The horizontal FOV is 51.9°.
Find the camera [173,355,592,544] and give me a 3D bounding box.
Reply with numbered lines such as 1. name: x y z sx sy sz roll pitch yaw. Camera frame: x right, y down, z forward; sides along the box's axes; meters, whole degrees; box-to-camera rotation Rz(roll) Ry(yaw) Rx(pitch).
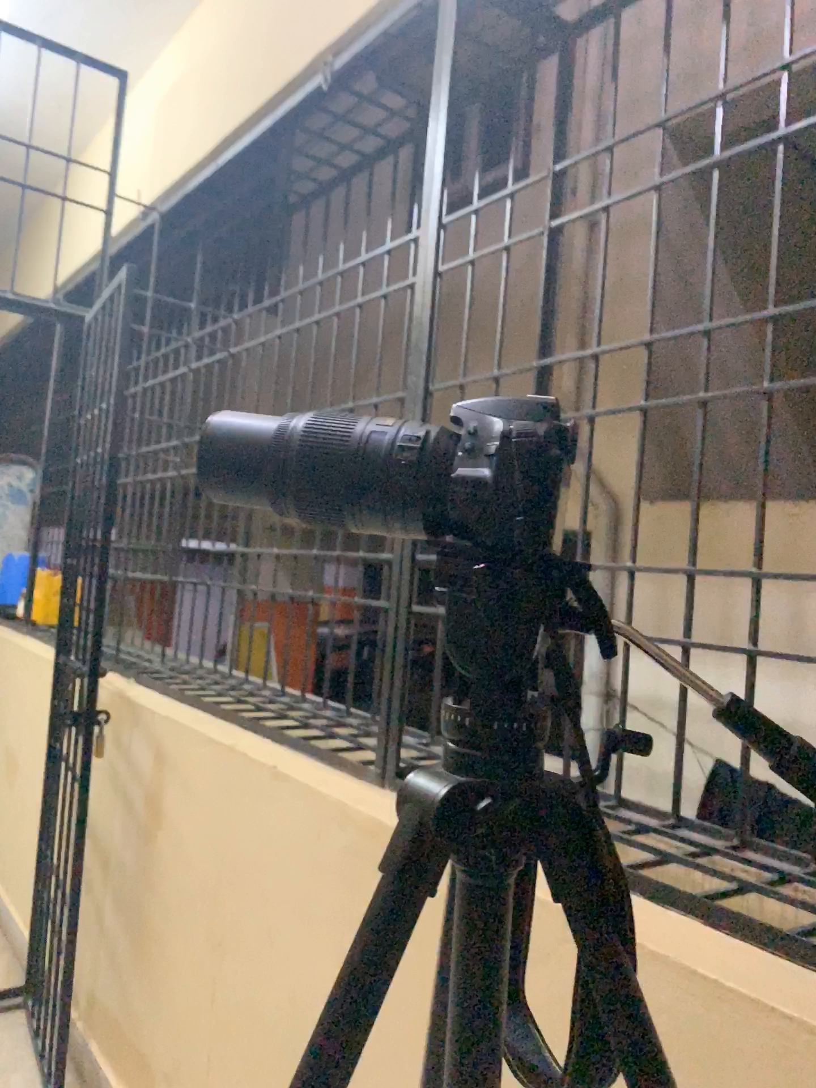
1. camera: -0.008 -0.056 0.522 0.230 0.090 0.120 4 -3 15
